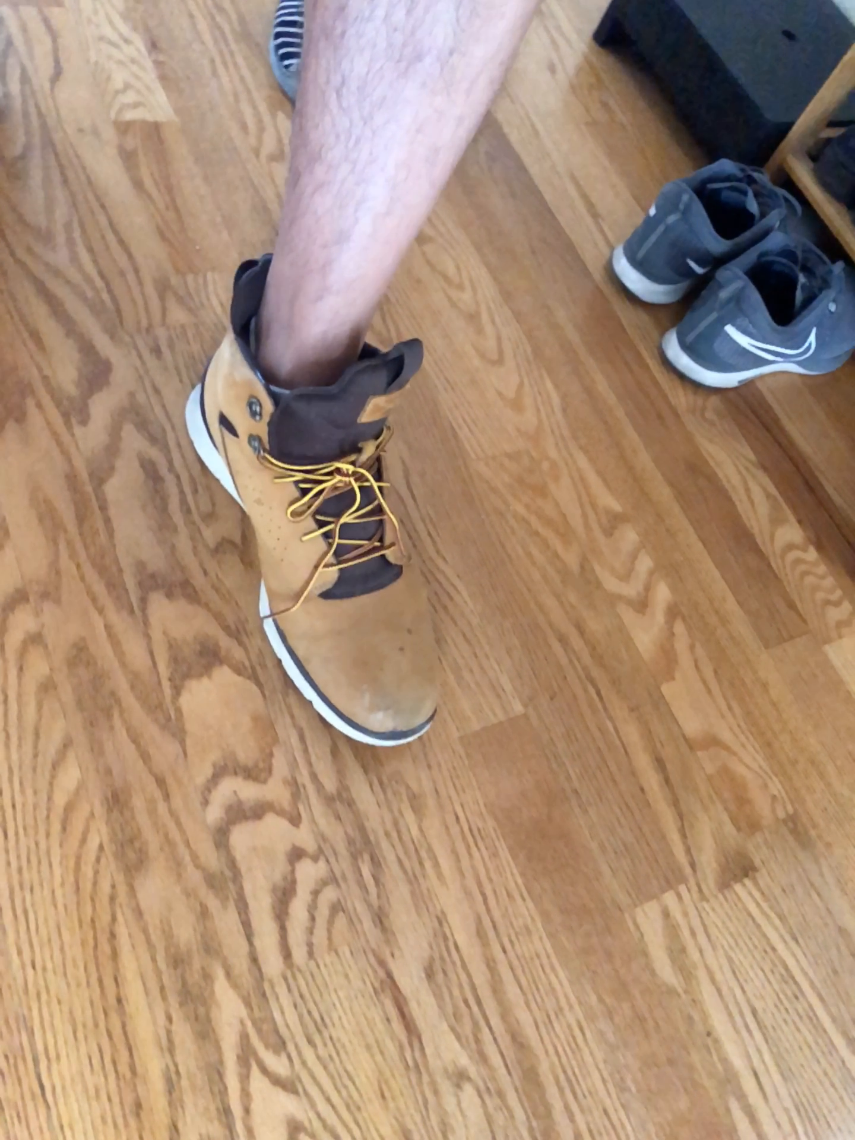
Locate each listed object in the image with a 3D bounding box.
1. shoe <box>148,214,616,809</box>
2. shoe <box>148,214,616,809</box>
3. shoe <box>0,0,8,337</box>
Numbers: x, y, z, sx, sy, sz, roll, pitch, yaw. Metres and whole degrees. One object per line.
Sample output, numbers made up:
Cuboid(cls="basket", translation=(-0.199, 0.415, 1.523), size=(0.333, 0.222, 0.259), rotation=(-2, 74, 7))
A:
Cuboid(cls="shoe", translation=(-0.046, -0.043, 0.564), size=(0.130, 0.139, 0.310), rotation=(-16, 68, -29))
Cuboid(cls="shoe", translation=(-0.046, -0.043, 0.564), size=(0.130, 0.139, 0.310), rotation=(-16, 68, -29))
Cuboid(cls="shoe", translation=(-0.404, -0.344, 0.616), size=(0.130, 0.159, 0.331), rotation=(16, 56, -13))
